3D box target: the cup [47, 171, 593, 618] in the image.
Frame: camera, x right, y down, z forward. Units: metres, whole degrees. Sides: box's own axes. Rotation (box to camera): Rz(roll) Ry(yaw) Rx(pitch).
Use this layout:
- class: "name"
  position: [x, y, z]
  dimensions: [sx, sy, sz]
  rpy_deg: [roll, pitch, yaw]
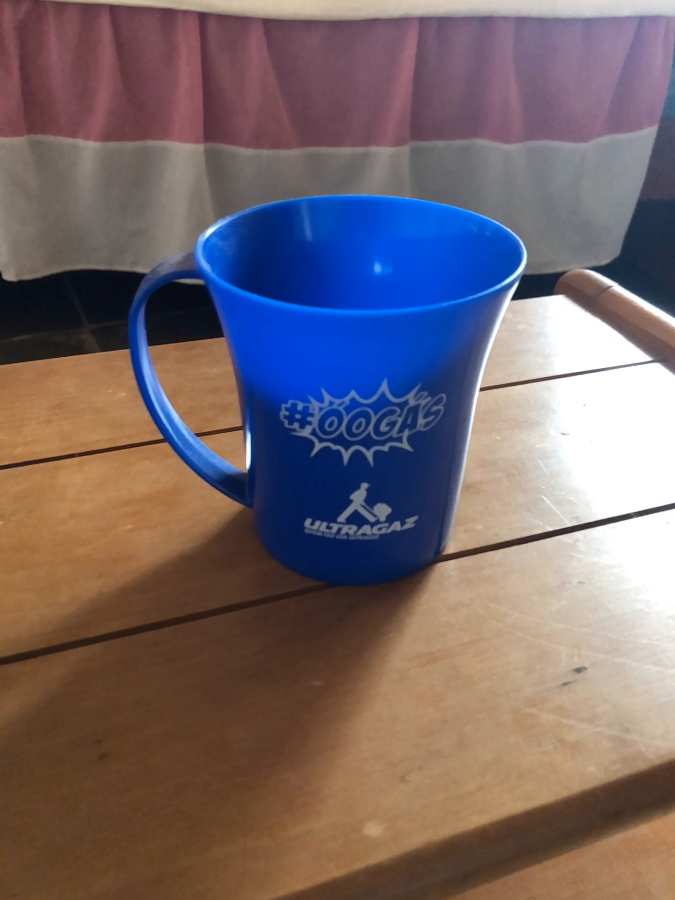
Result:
- class: "cup"
  position: [-0.006, -0.021, 0.234]
  dimensions: [0.120, 0.099, 0.101]
  rpy_deg: [0, 35, -4]
